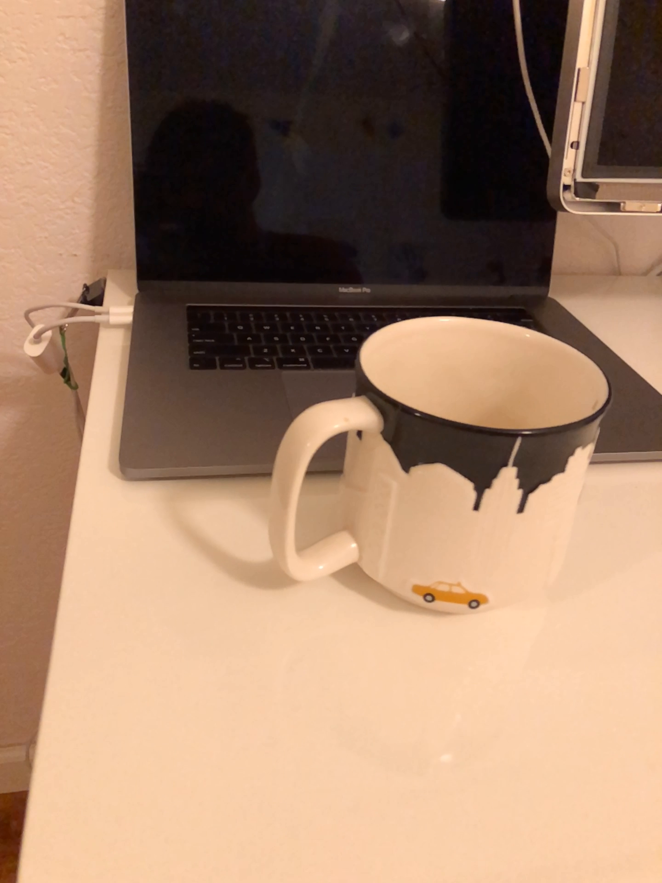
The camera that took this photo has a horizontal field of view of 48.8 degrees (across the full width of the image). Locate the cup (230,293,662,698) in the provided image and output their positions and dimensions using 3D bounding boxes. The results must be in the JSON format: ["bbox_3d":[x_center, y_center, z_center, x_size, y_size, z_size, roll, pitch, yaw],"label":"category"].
[{"bbox_3d":[0.044,0.013,0.319,0.150,0.109,0.100,-12,36,-24],"label":"cup"}]
